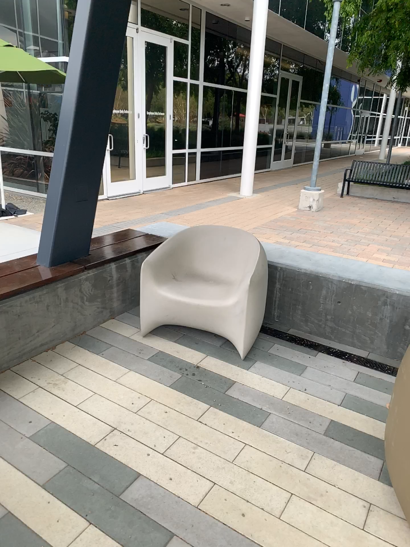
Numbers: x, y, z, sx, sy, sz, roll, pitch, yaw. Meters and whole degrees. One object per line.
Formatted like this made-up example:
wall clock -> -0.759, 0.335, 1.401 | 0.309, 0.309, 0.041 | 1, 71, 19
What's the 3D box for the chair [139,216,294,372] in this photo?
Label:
chair -> 0.117, 0.095, 3.403 | 0.981, 0.786, 0.924 | 11, 24, 15
